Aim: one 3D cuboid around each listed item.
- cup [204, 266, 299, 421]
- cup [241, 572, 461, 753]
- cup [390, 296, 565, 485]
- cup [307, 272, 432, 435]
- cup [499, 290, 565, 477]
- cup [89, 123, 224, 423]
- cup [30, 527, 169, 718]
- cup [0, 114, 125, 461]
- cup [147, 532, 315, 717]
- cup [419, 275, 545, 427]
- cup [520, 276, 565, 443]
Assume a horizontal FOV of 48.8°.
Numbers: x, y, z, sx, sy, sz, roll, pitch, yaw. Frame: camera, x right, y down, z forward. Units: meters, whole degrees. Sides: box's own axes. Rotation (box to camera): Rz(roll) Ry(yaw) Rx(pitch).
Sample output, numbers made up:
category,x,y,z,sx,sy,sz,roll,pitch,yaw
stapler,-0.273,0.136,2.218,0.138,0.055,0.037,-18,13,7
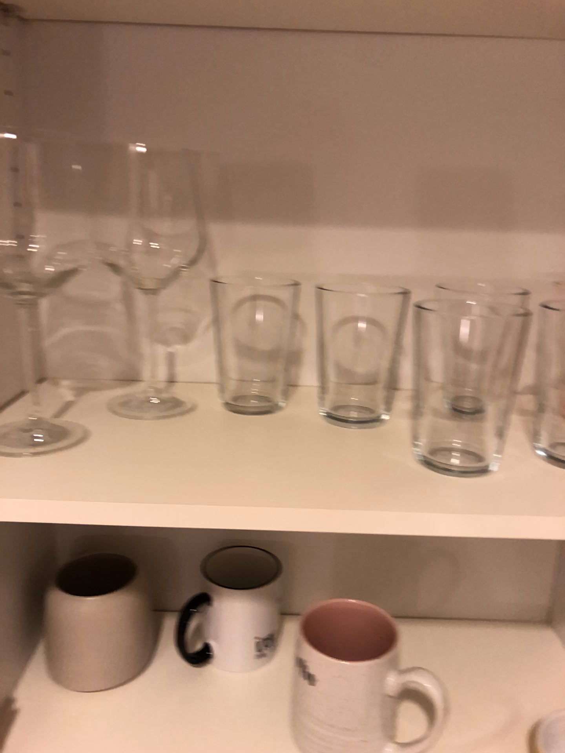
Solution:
category,x,y,z,sx,sy,sz,roll,pitch,yaw
cup,-0.032,-0.034,0.588,0.080,0.130,0.090,1,14,-5
cup,0.051,0.248,0.491,0.140,0.110,0.090,12,18,34
cup,0.129,0.005,0.436,0.080,0.110,0.090,1,14,-5
cup,0.068,-0.023,0.527,0.080,0.120,0.090,1,14,-5
cup,0.222,0.002,0.461,0.080,0.120,0.080,2,14,0
cup,-0.113,-0.094,0.592,0.110,0.259,0.090,1,14,-5
cup,-0.182,0.229,0.608,0.110,0.090,0.140,-4,16,-23
cup,-0.193,-0.067,0.497,0.110,0.249,0.090,1,14,-5
cup,-0.049,0.236,0.617,0.090,0.090,0.140,14,19,39
cup,0.173,-0.025,0.556,0.070,0.120,0.080,1,14,-5
cup,0.274,-0.019,0.529,0.090,0.120,0.100,1,14,-4
